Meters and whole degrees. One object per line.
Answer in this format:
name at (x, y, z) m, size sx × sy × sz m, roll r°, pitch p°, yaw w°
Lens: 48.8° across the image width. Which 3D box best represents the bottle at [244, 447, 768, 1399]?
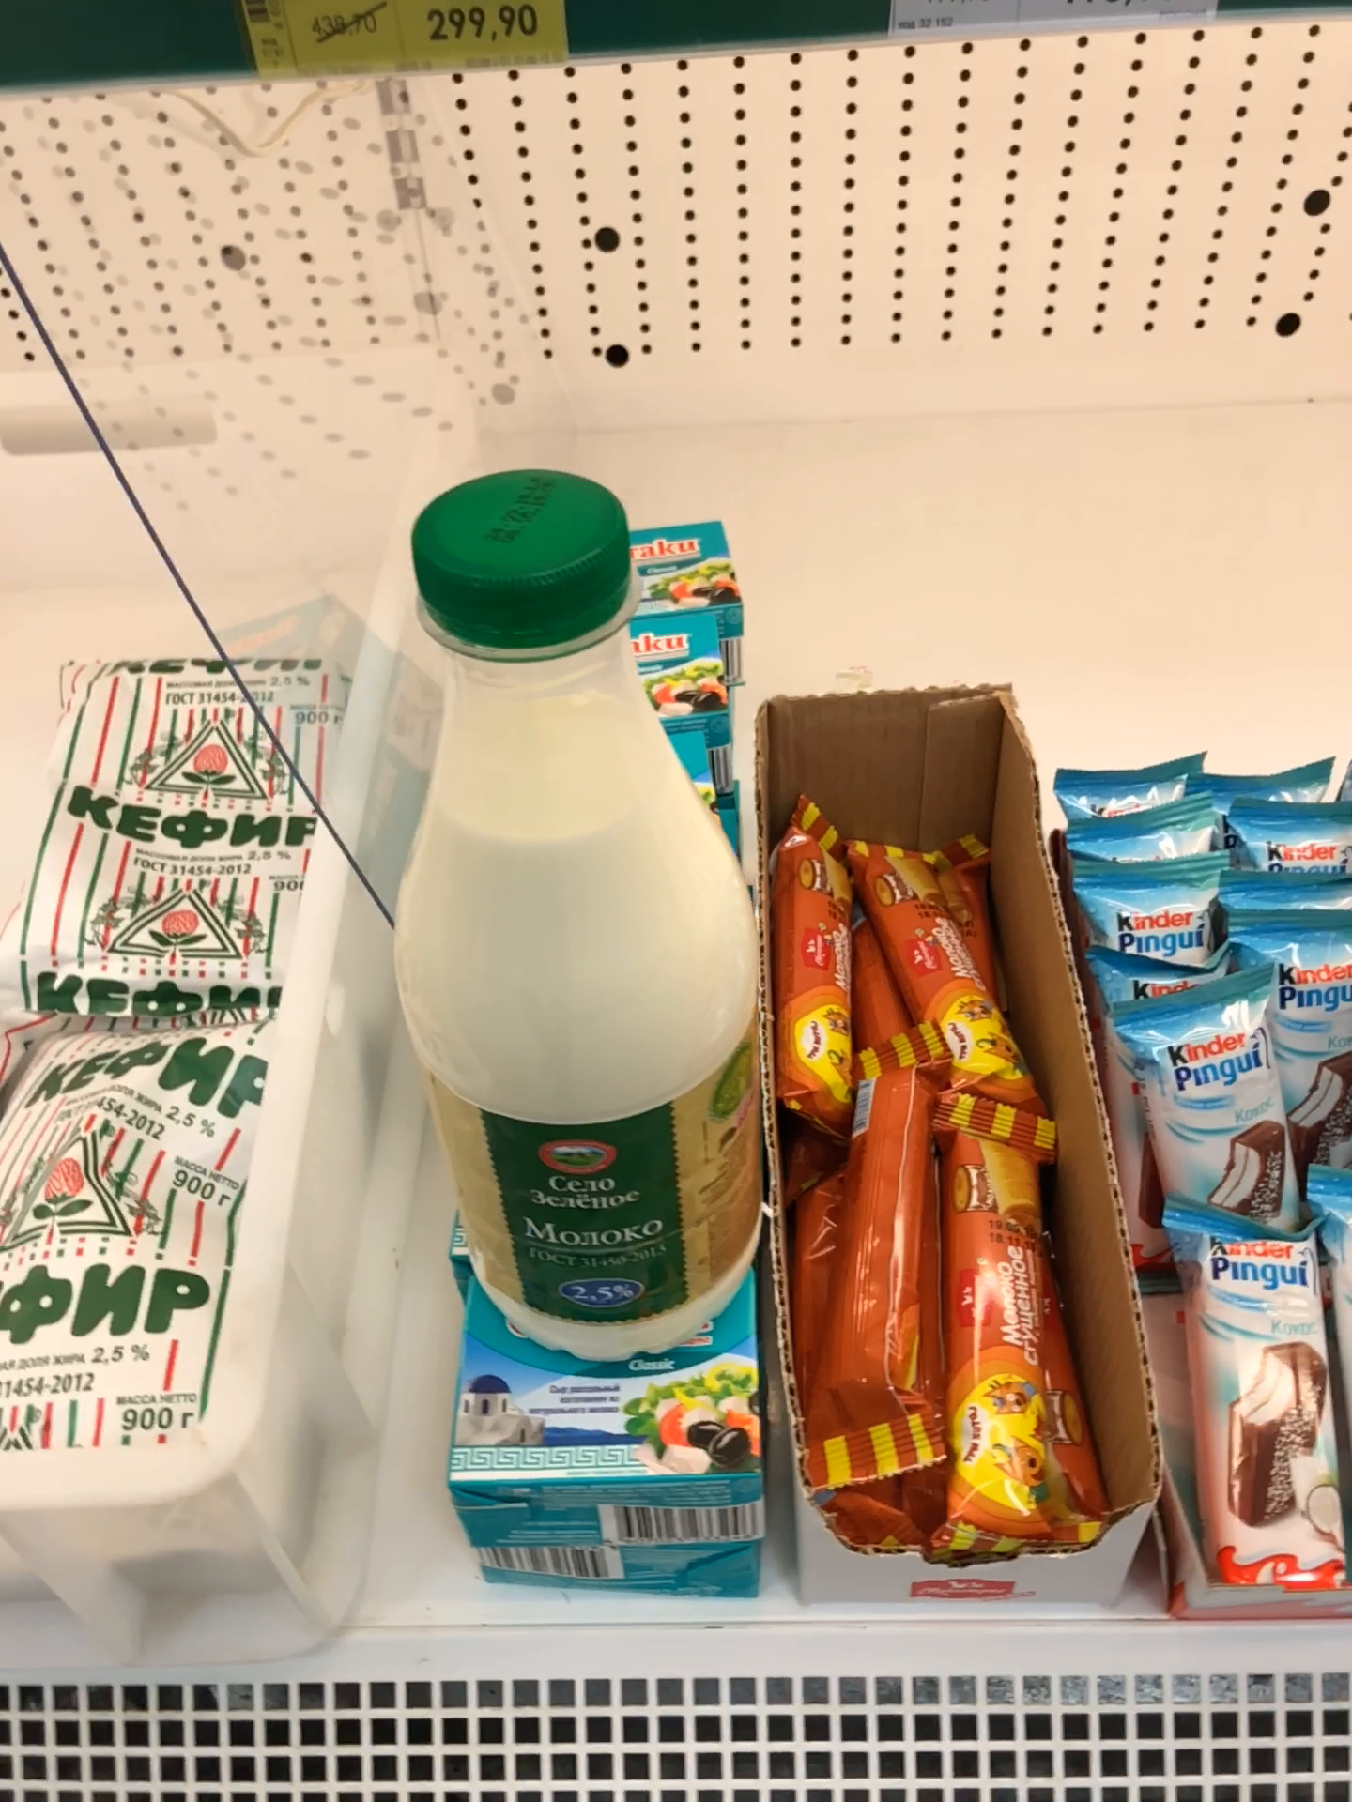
bottle at (-0.021, 0.023, 0.357) m, size 0.081 × 0.238 × 0.085 m, roll -2°, pitch 46°, yaw 2°
